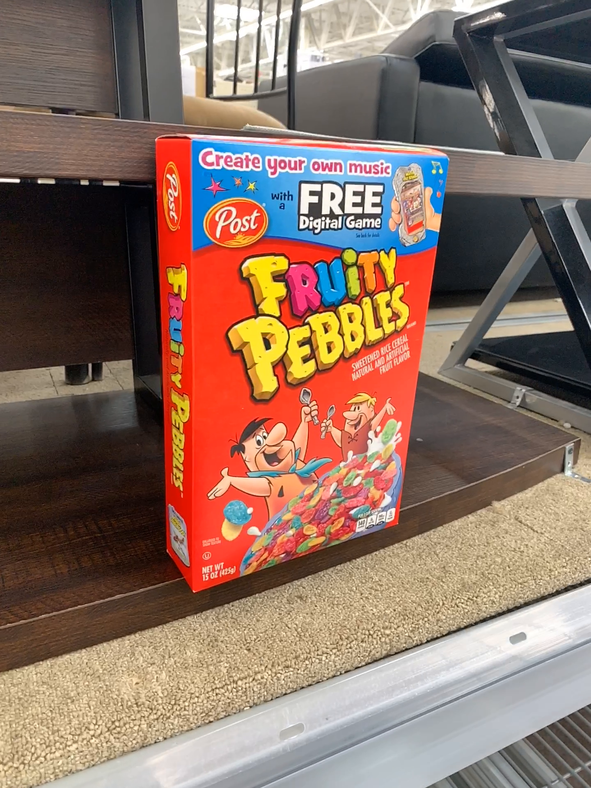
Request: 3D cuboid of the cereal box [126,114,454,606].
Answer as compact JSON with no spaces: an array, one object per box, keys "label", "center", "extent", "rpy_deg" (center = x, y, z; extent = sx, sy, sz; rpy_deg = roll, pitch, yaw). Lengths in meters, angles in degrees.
[{"label":"cereal box","center":[-0.004,-0.024,0.443],"extent":[0.210,0.309,0.060],"rpy_deg":[-9,23,-31]}]
